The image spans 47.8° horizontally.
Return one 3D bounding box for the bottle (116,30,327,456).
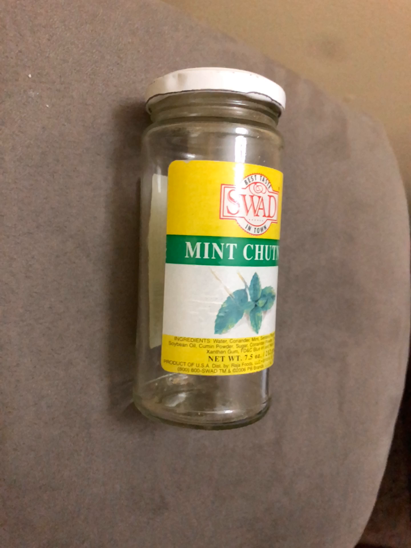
[{"bbox_3d":[0.003,-0.010,0.183,0.057,0.056,0.133,0,95,-29],"label":"bottle"}]
